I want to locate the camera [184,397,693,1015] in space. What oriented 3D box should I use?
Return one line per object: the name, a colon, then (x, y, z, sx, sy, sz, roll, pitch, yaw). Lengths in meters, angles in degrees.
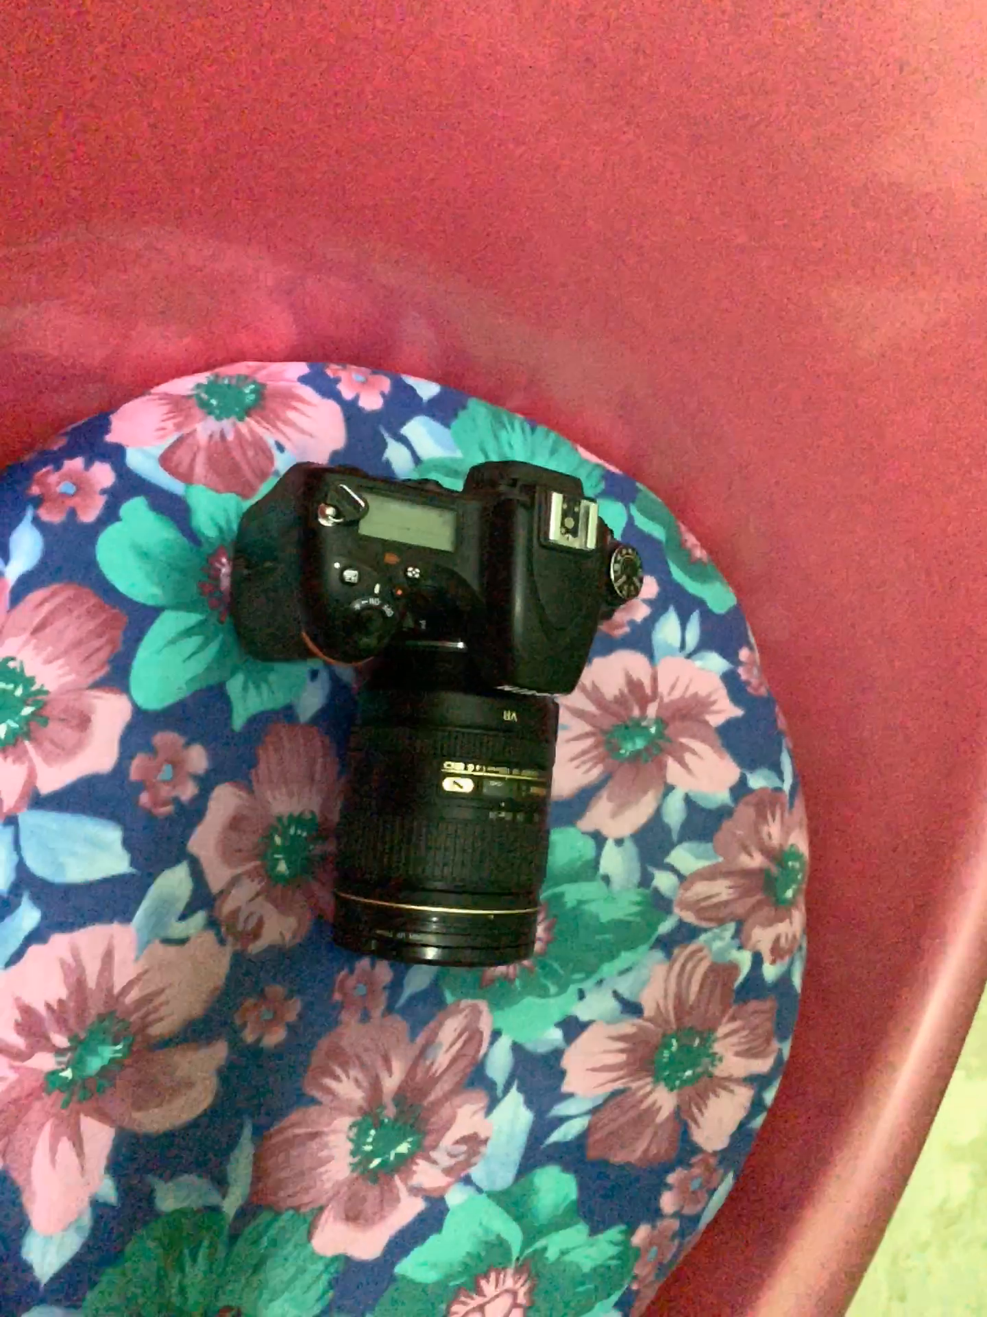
camera: (-0.020, 0.025, 0.373, 0.140, 0.111, 0.179, 9, 79, -28)
